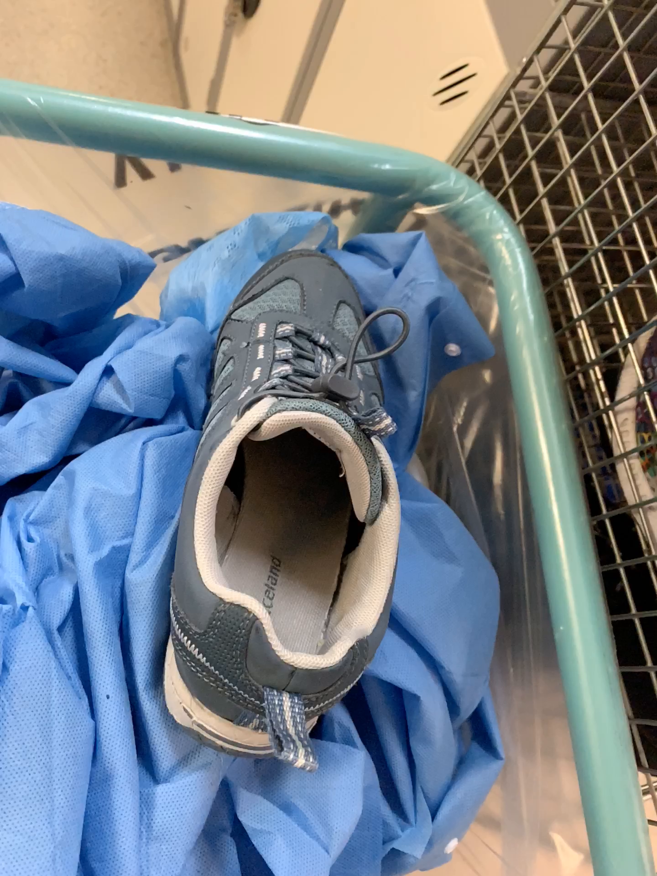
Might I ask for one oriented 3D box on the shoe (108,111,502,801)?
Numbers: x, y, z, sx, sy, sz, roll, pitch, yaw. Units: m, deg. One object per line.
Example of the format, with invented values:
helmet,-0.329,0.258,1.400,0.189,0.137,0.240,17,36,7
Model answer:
shoe,-0.007,0.006,0.293,0.101,0.109,0.241,16,67,-13
